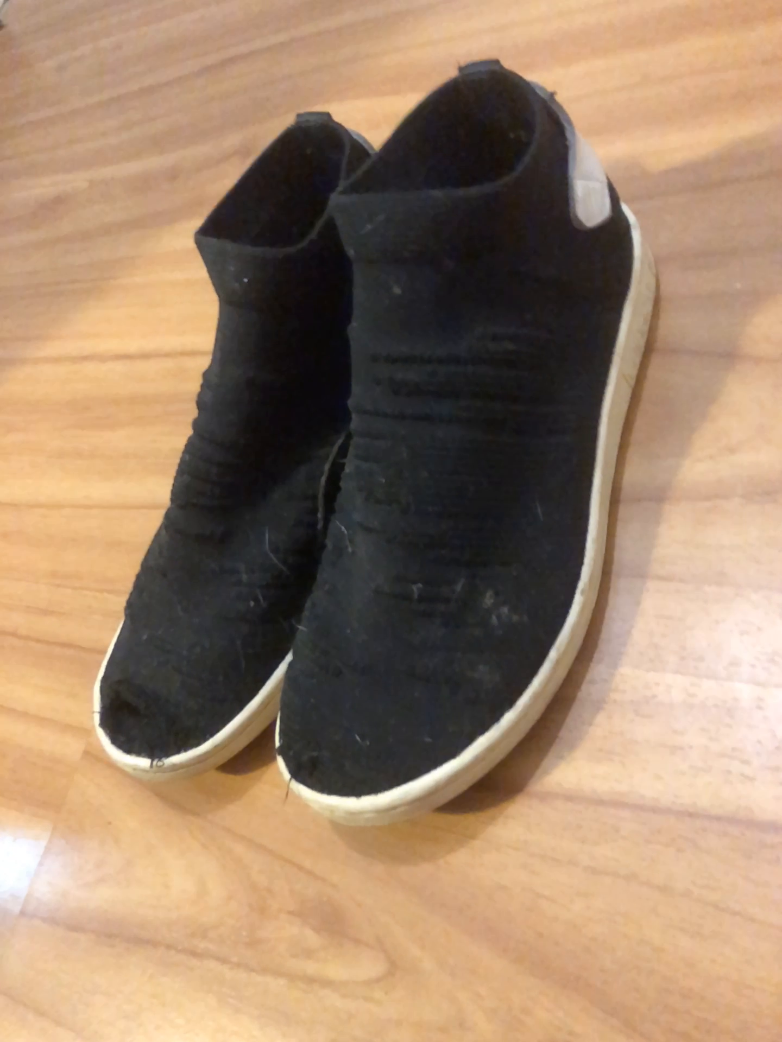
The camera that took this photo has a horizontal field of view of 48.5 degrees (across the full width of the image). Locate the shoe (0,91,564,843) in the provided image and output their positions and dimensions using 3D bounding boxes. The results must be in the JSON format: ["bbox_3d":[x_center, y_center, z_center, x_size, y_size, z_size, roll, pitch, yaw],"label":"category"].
[{"bbox_3d":[-0.044,-0.027,0.340,0.100,0.100,0.260,18,75,36],"label":"shoe"}]

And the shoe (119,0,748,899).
[{"bbox_3d":[0.032,-0.030,0.288,0.100,0.100,0.260,9,70,33],"label":"shoe"}]
